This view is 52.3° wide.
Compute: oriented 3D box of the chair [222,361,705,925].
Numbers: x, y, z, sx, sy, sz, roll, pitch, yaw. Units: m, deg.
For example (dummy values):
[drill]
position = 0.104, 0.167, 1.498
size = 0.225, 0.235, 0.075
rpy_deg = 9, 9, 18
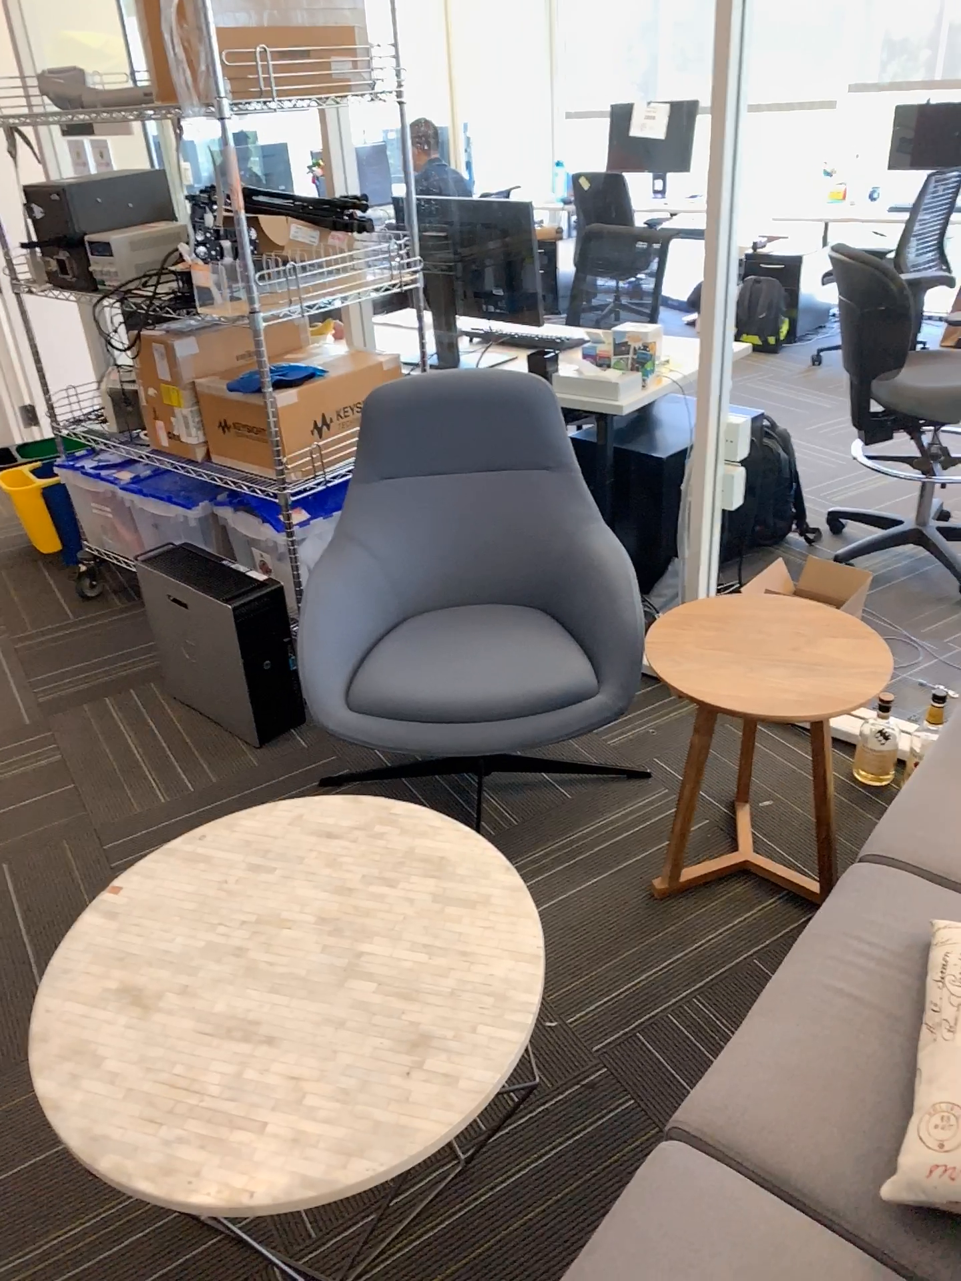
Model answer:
[chair]
position = 0.017, -0.042, 2.368
size = 0.840, 0.964, 1.006
rpy_deg = -1, 30, 4
